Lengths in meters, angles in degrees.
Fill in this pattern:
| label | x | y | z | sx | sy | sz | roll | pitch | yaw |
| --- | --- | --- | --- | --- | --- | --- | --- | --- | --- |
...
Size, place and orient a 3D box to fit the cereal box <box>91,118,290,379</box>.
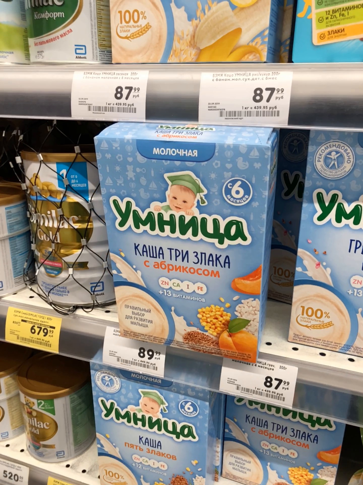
| label | x | y | z | sx | sy | sz | roll | pitch | yaw |
| --- | --- | --- | --- | --- | --- | --- | --- | --- | --- |
| cereal box | 0.011 | 0.007 | 0.354 | 0.140 | 0.209 | 0.060 | 8 | 30 | 18 |
